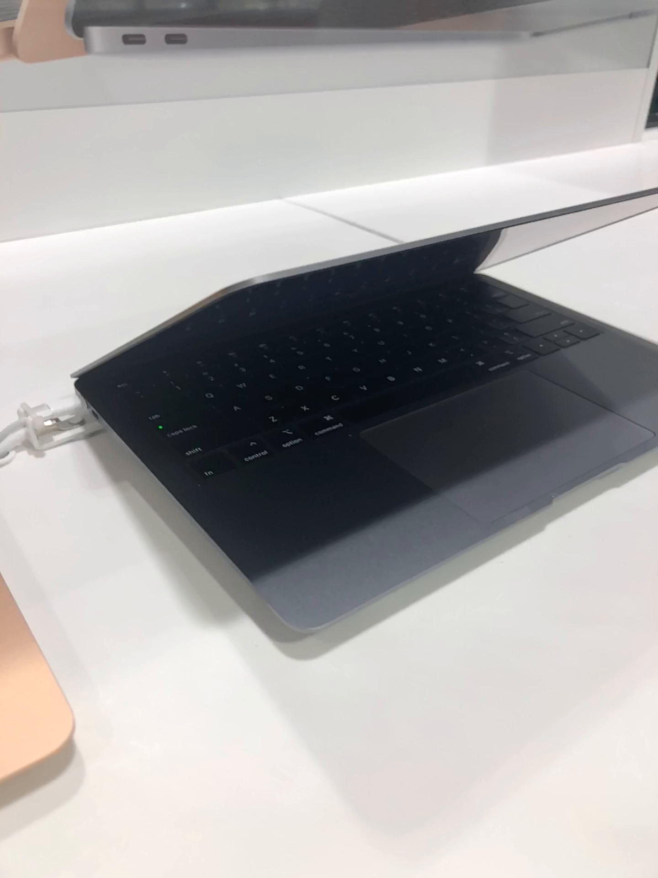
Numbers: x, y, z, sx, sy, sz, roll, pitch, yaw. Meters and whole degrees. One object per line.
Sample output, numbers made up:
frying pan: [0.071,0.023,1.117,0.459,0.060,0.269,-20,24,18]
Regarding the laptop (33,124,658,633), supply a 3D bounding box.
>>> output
laptop: [0.047,-0.070,0.350,0.289,0.102,0.199,-20,38,-32]
